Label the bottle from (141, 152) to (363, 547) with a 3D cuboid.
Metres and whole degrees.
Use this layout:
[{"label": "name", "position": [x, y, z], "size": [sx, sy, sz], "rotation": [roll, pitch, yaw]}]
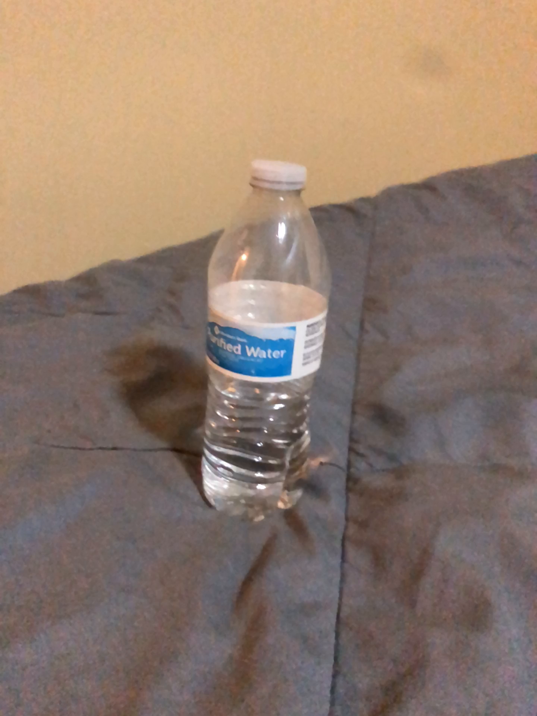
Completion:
[{"label": "bottle", "position": [-0.009, -0.008, 0.331], "size": [0.080, 0.190, 0.080], "rotation": [2, 24, -1]}]
